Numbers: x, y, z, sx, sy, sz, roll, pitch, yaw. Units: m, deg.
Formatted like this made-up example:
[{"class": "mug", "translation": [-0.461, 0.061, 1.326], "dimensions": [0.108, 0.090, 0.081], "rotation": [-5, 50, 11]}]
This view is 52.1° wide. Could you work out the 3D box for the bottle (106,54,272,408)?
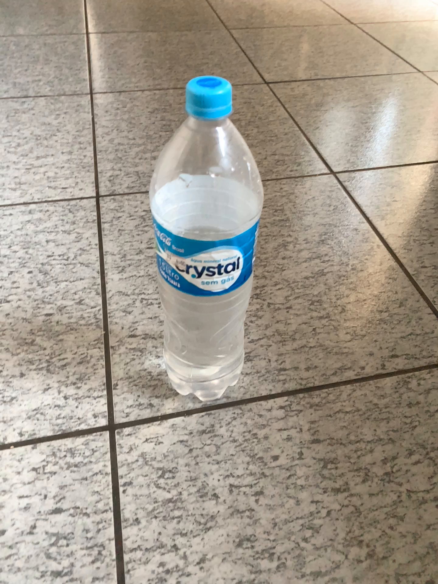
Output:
[{"class": "bottle", "translation": [-0.016, -0.023, 0.380], "dimensions": [0.090, 0.298, 0.090], "rotation": [1, 46, -1]}]
